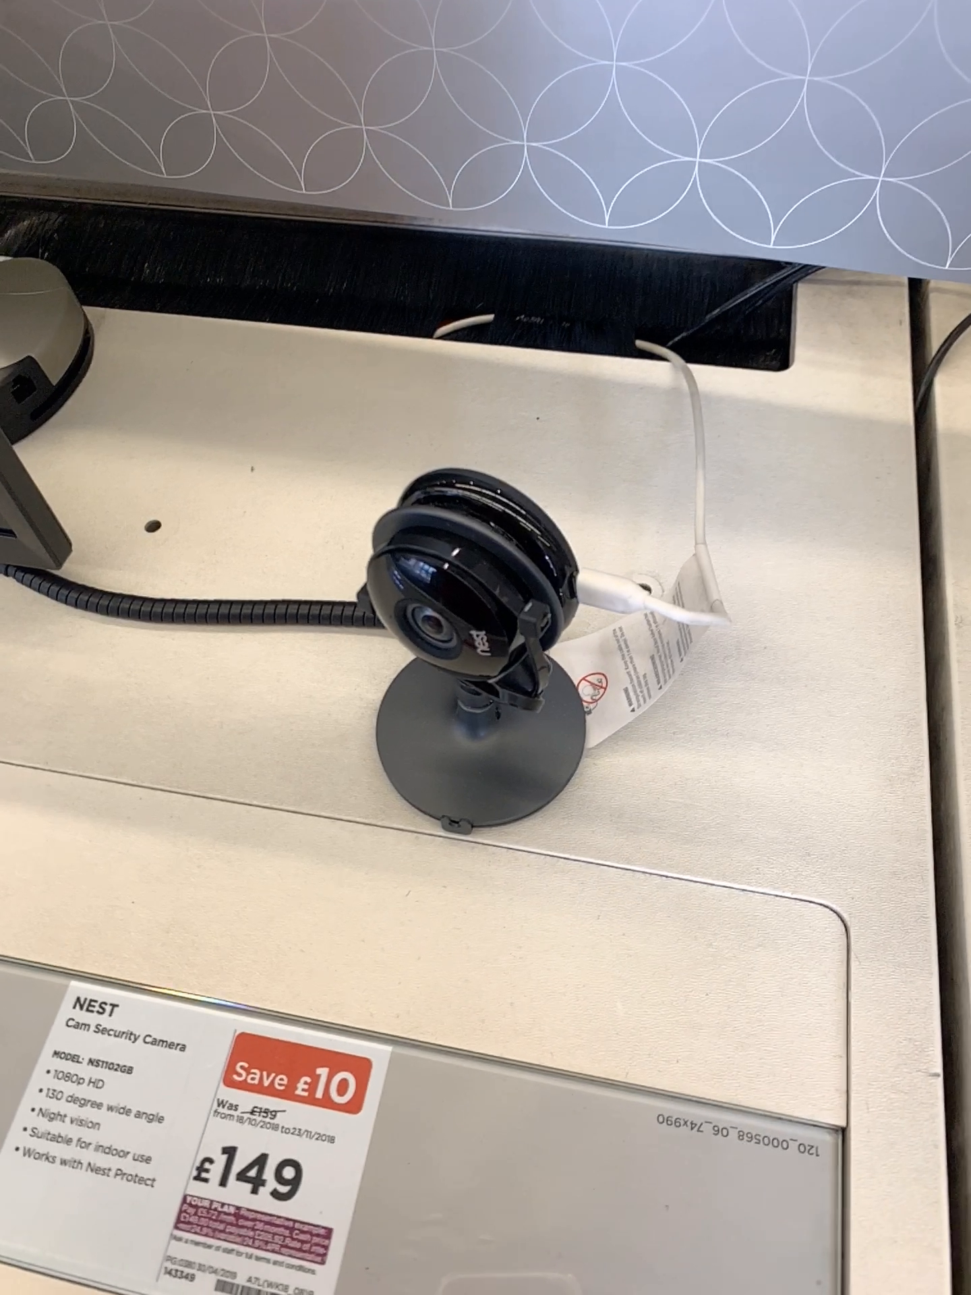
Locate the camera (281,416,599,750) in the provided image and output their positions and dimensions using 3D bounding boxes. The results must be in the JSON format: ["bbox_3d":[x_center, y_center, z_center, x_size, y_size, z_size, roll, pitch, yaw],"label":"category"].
[{"bbox_3d":[-0.009,-0.017,0.263,0.060,0.050,0.050,25,61,18],"label":"camera"}]
